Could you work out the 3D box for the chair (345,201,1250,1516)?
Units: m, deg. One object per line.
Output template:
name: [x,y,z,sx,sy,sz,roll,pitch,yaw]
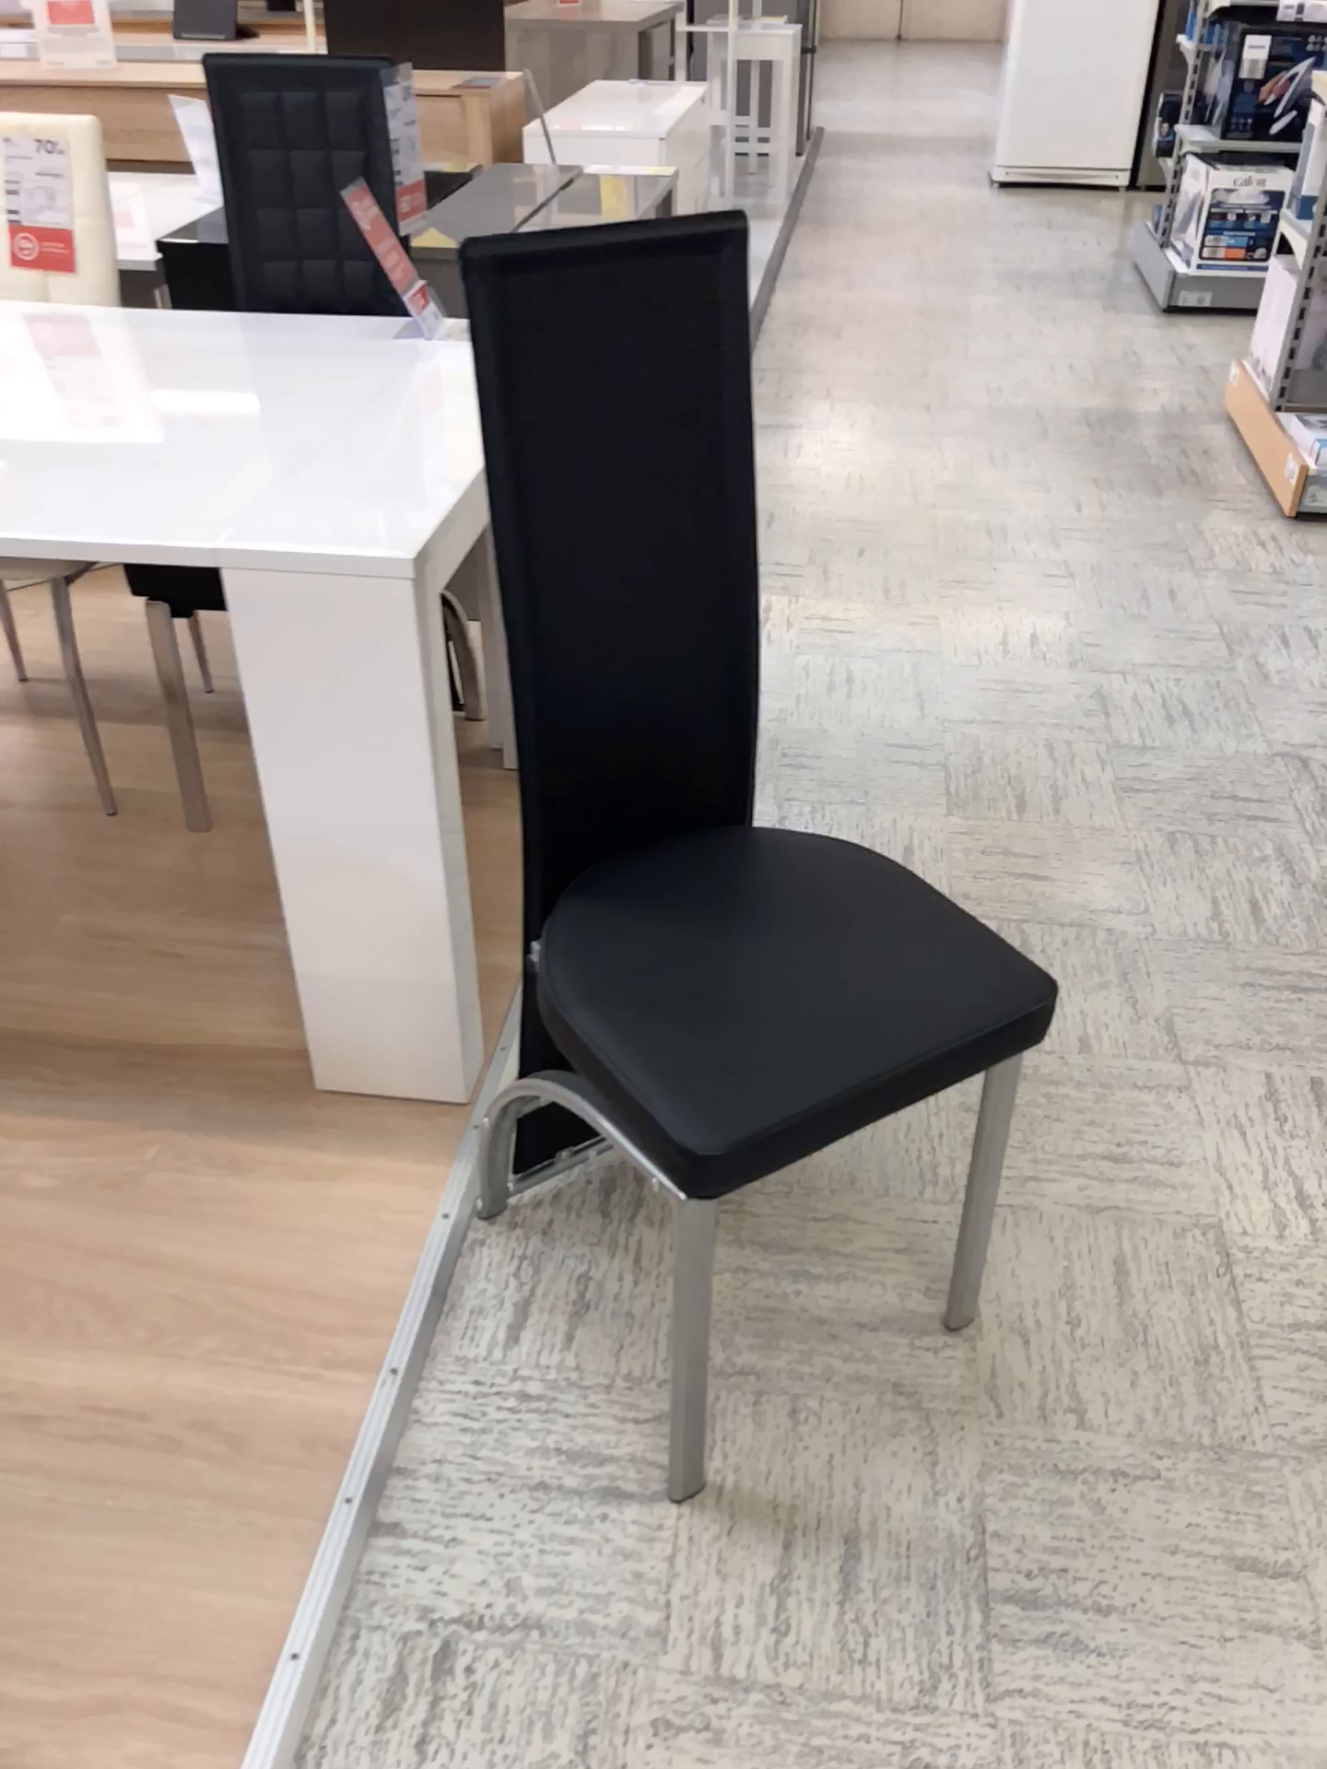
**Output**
chair: [0.075,-0.021,1.329,0.452,1.013,0.491,-20,39,-28]
